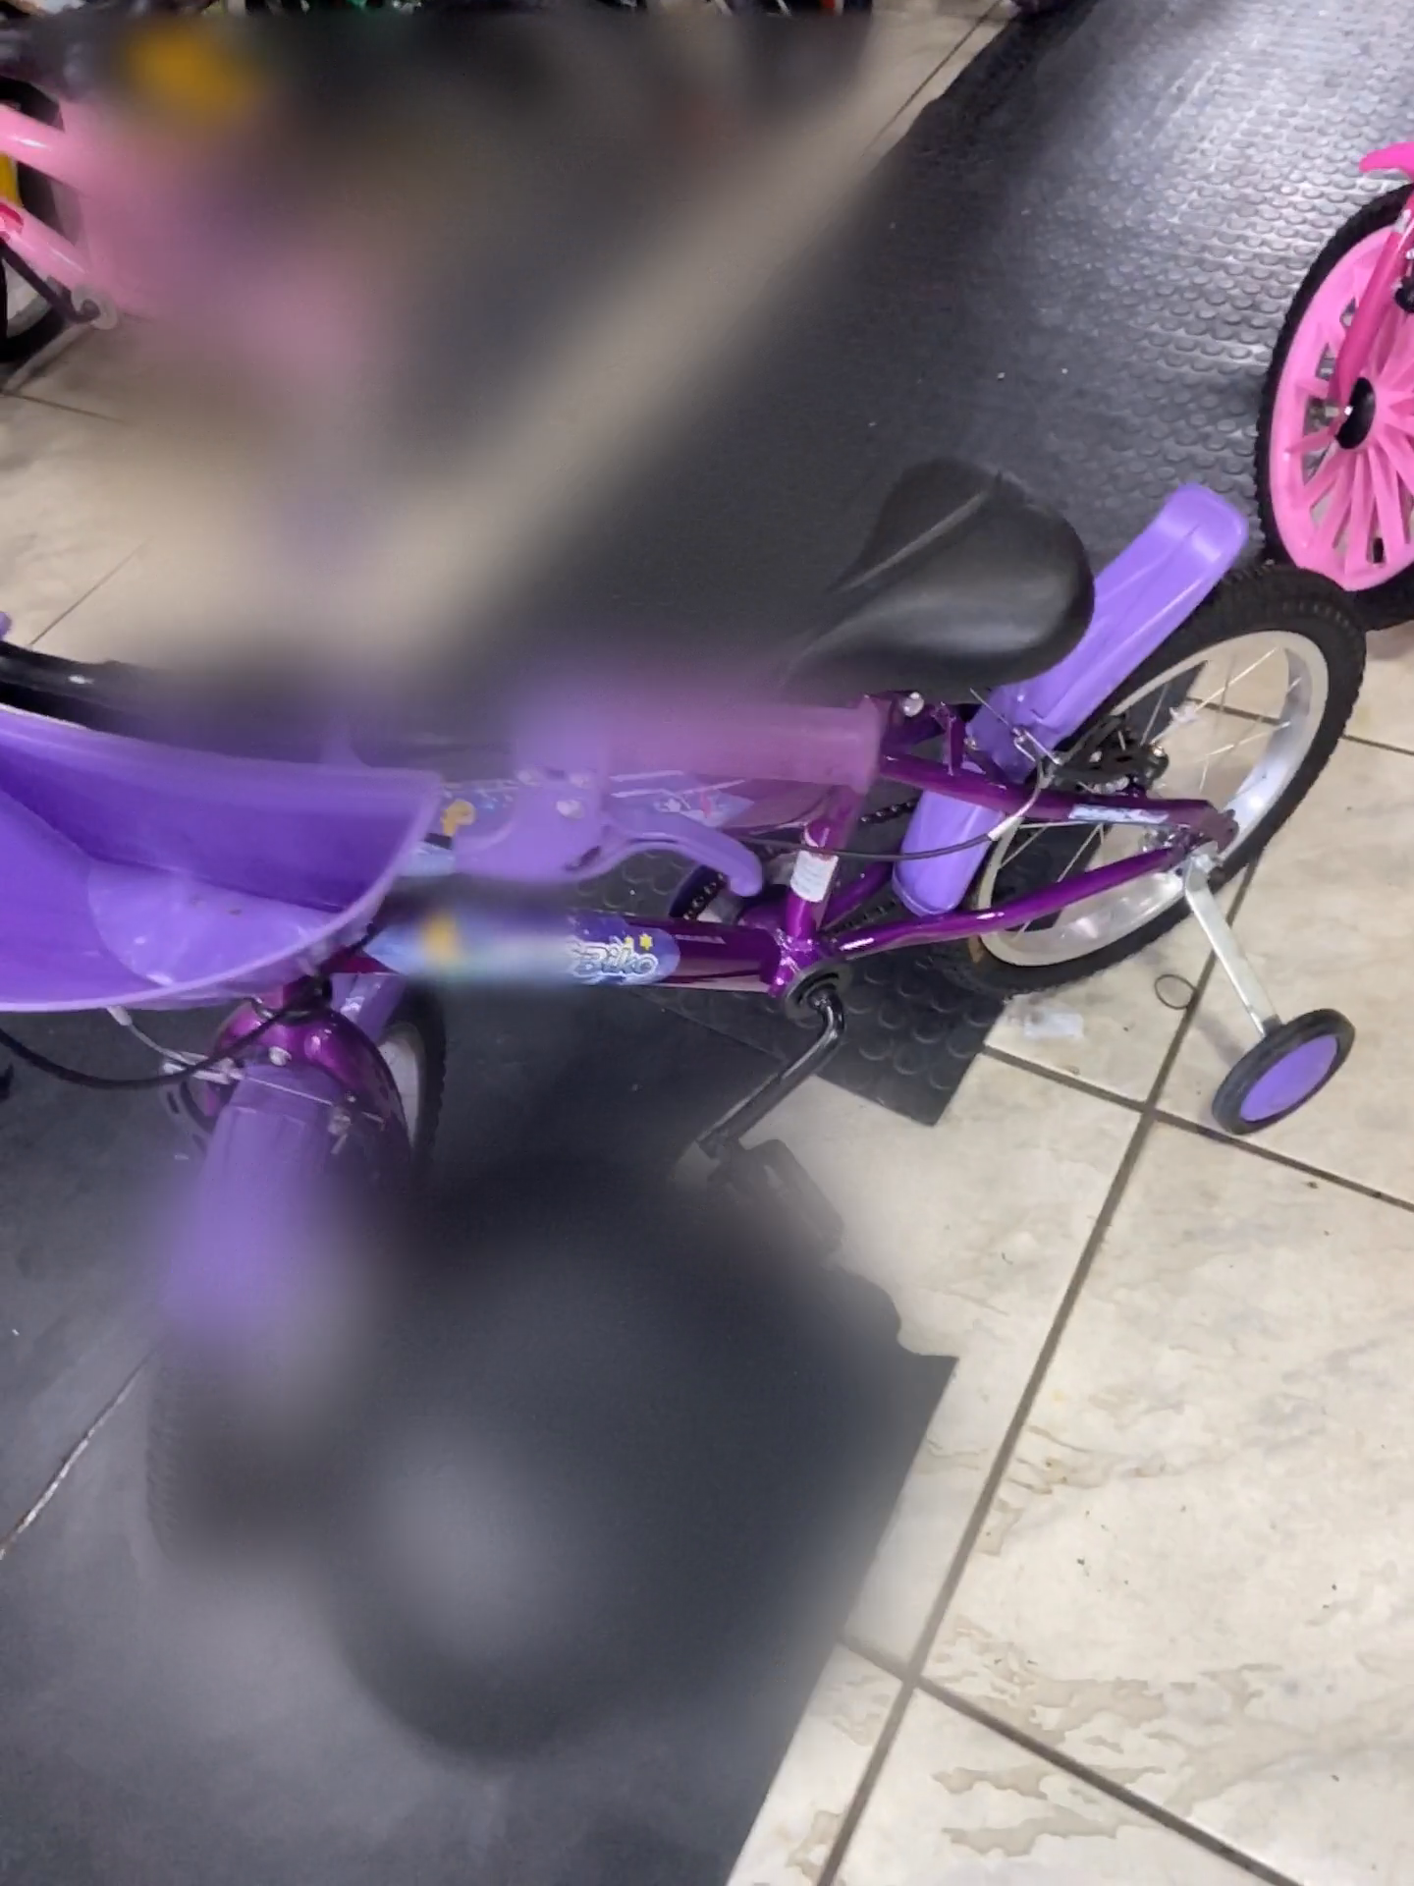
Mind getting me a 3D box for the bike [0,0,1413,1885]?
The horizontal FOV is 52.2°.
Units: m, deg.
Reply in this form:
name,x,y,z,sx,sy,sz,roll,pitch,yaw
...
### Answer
name,x,y,z,sx,sy,sz,roll,pitch,yaw
bike,0.043,-0.058,0.814,0.972,0.743,0.448,-35,54,-17
